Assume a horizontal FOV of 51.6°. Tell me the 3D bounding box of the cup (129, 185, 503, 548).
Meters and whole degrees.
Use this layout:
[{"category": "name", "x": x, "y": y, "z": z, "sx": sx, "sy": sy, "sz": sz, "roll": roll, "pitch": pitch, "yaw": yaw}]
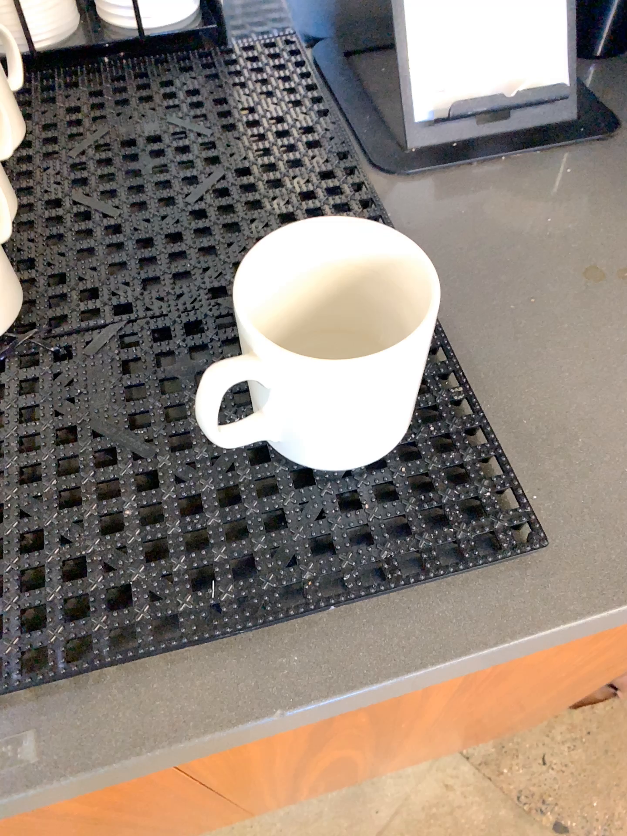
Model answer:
[{"category": "cup", "x": 0.001, "y": -0.025, "z": 0.293, "sx": 0.120, "sy": 0.080, "sz": 0.090, "roll": -33, "pitch": 61, "yaw": -19}]
